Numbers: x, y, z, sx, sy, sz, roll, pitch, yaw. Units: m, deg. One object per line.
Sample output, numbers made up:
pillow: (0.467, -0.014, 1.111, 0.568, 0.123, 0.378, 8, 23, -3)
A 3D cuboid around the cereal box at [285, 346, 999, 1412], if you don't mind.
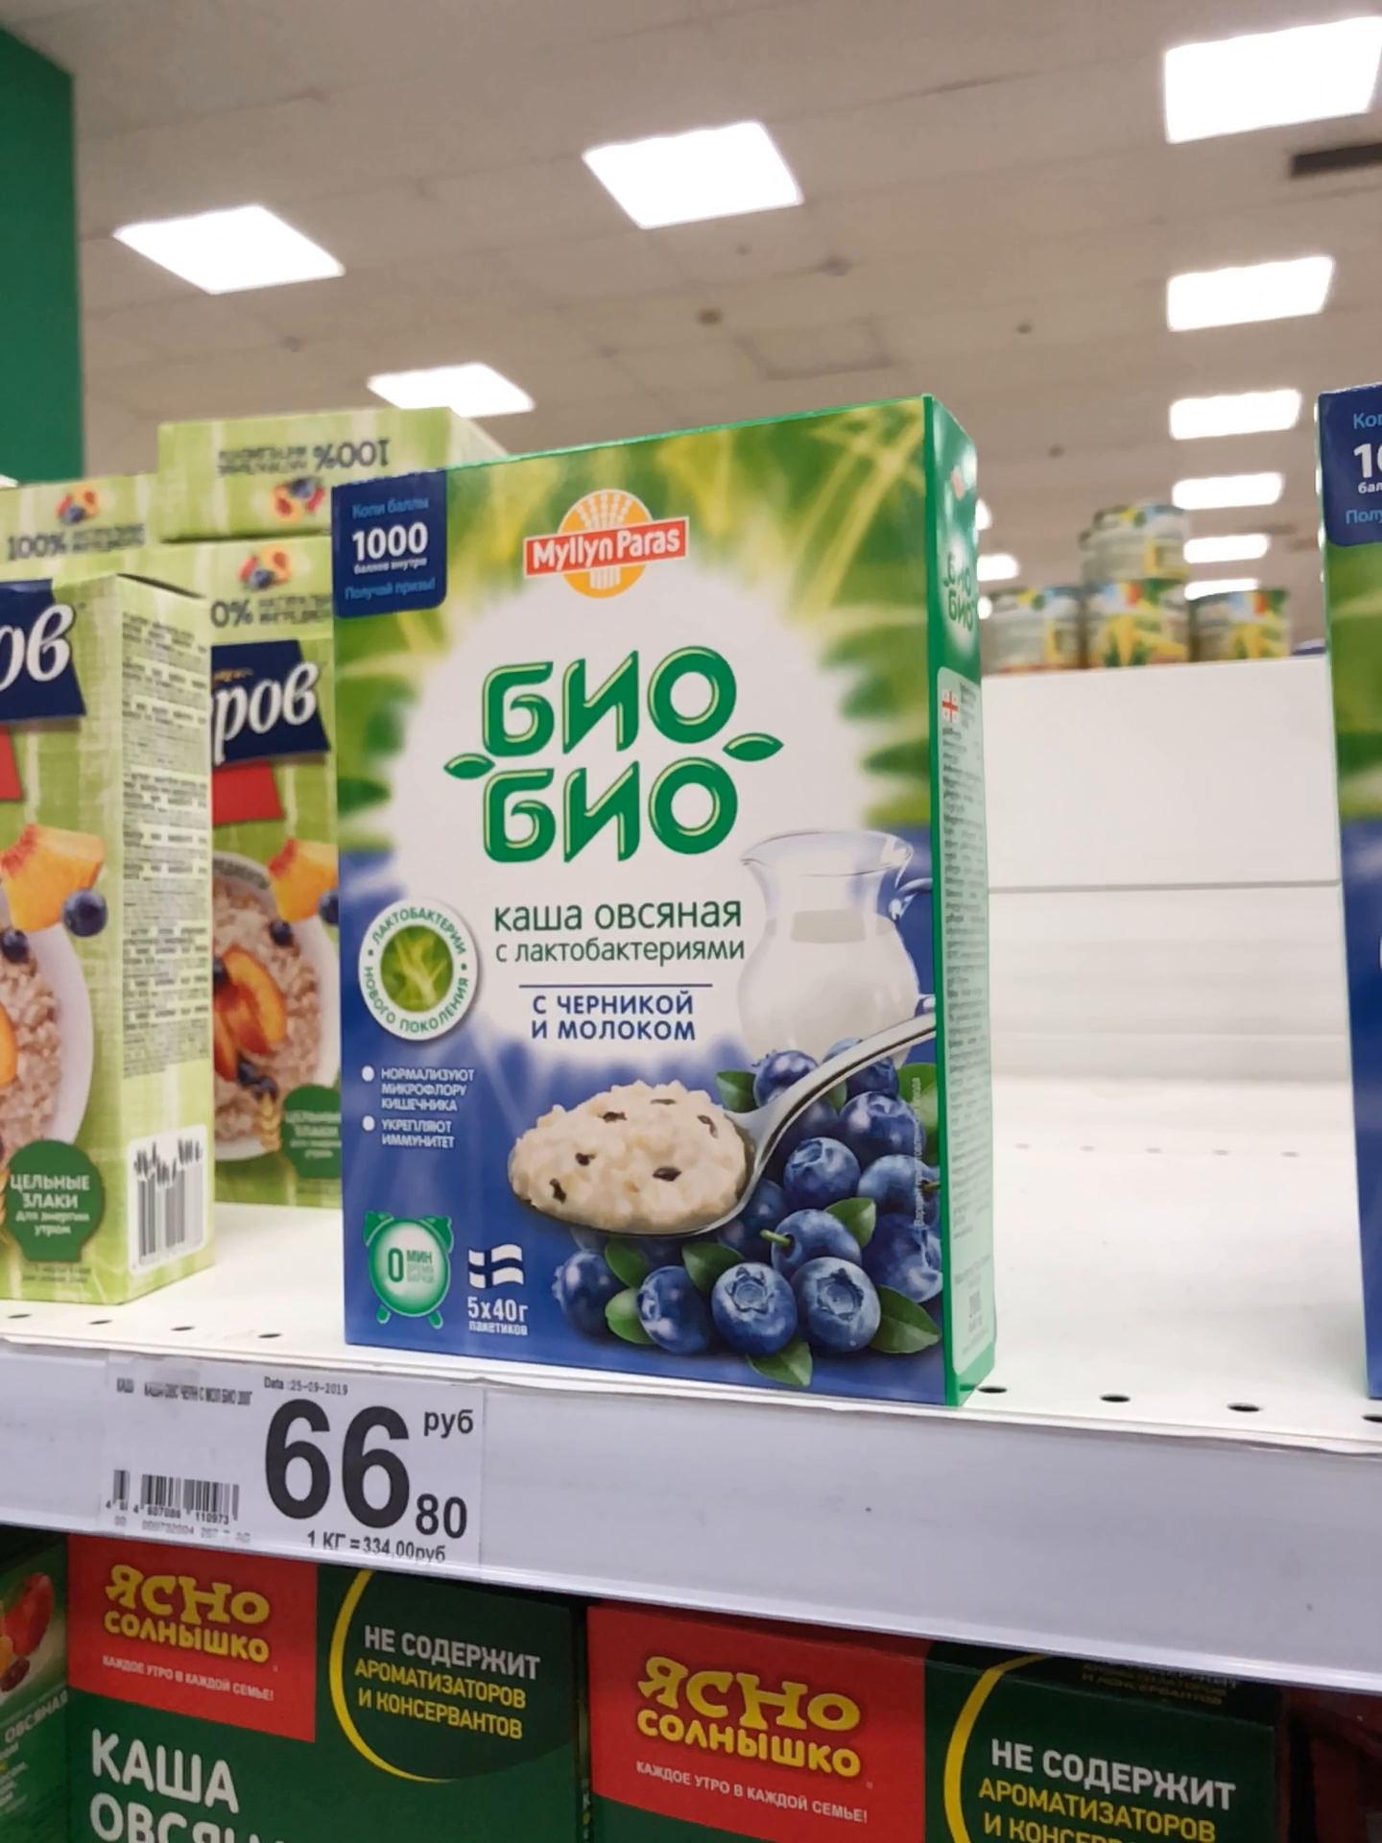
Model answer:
cereal box: (-0.015, -0.008, 0.352, 0.160, 0.210, 0.040, -1, -2, 23)
